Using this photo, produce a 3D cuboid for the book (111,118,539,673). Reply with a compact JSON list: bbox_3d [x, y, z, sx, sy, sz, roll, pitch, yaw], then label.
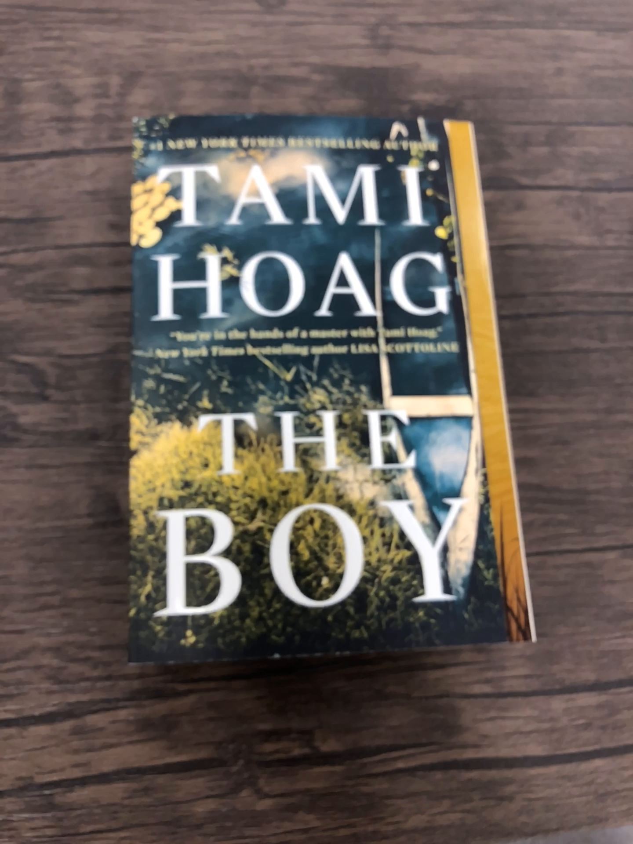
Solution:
[{"bbox_3d":[-0.001,-0.017,0.273,0.139,0.032,0.202,-2,76,-4],"label":"book"}]
